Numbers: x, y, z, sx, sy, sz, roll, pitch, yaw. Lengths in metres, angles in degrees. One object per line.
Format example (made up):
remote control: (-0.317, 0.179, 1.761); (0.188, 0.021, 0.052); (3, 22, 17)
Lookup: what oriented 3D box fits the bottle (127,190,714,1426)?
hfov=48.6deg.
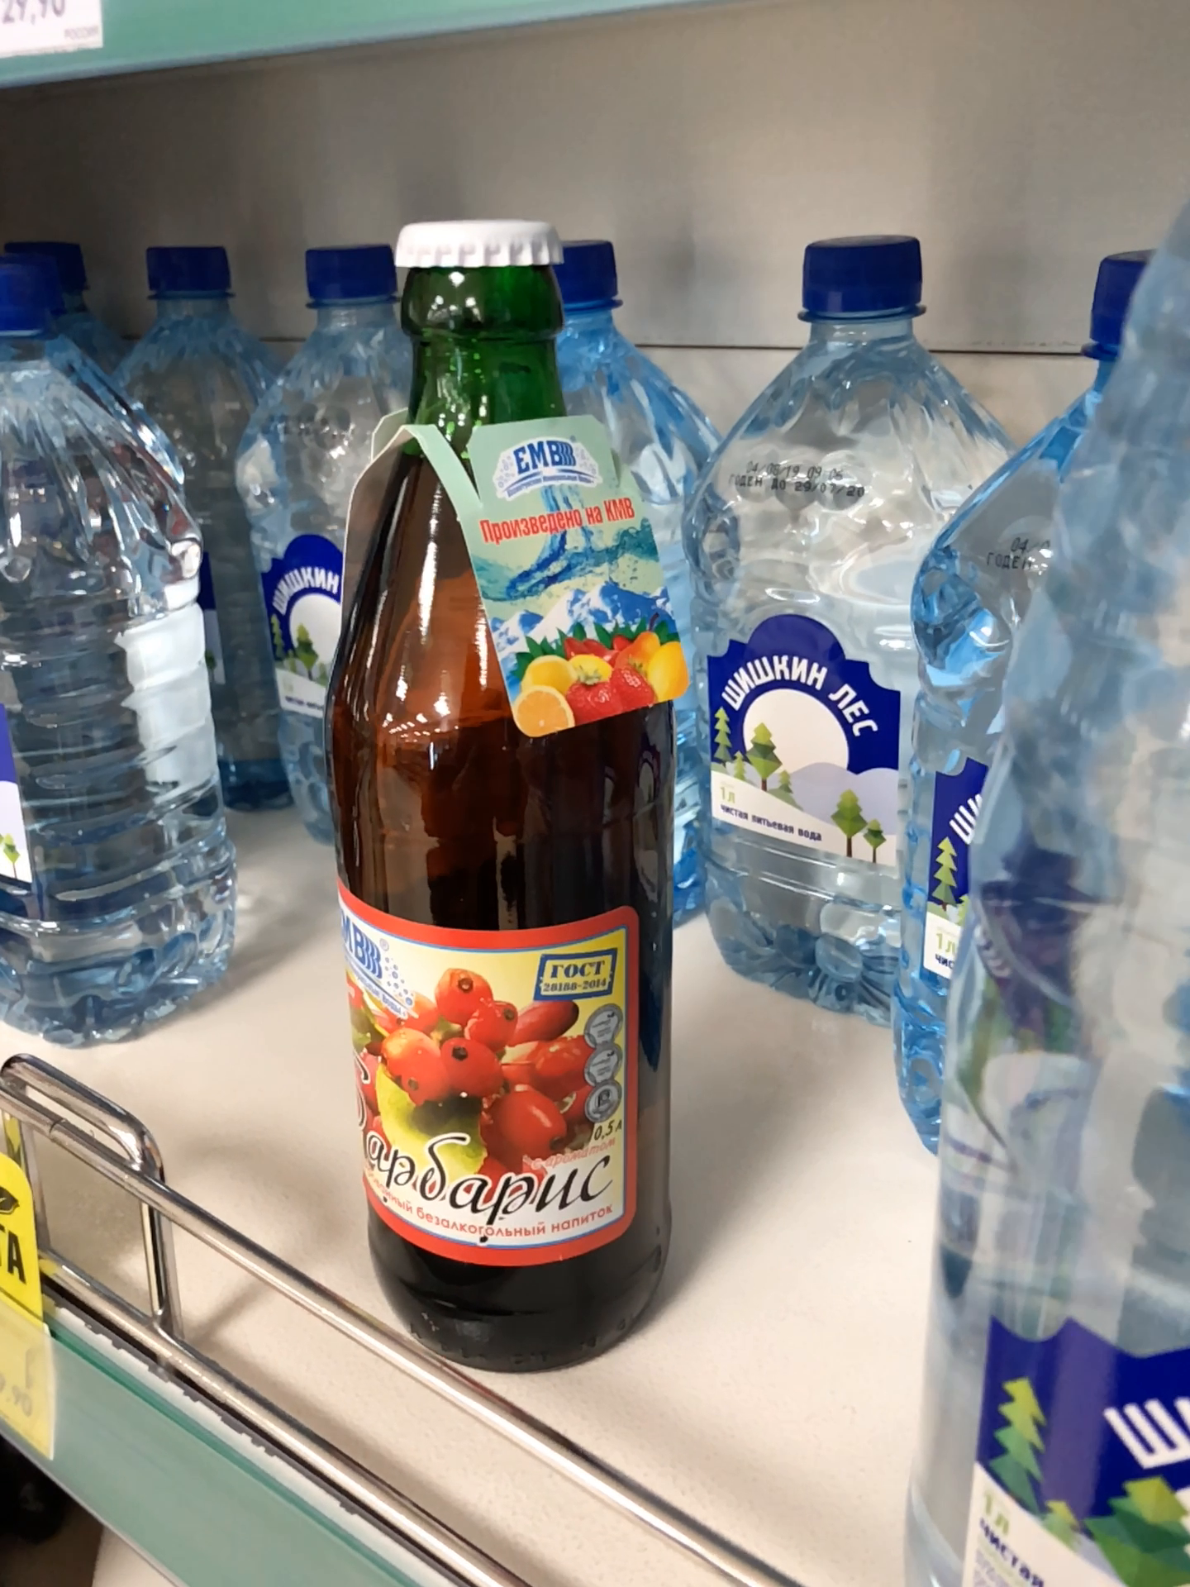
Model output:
bottle: (-0.025, 0.006, 0.260); (0.073, 0.222, 0.057); (15, 29, 36)
